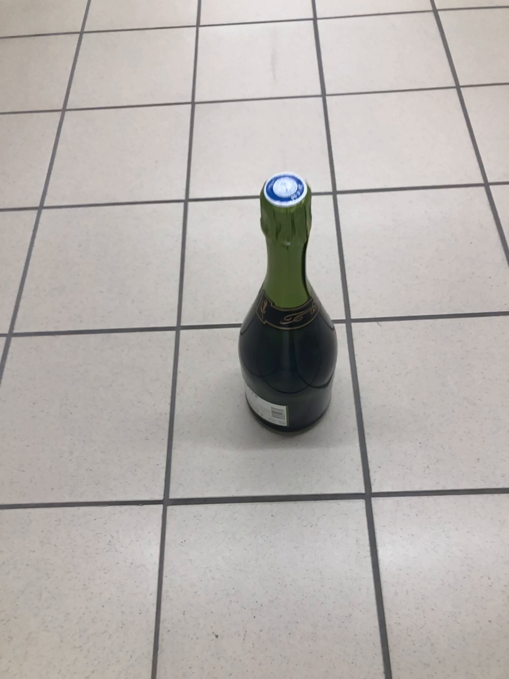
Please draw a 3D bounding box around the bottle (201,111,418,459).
[{"bbox_3d":[0.040,-0.016,0.475,0.090,0.309,0.100,-31,62,-15],"label":"bottle"}]
